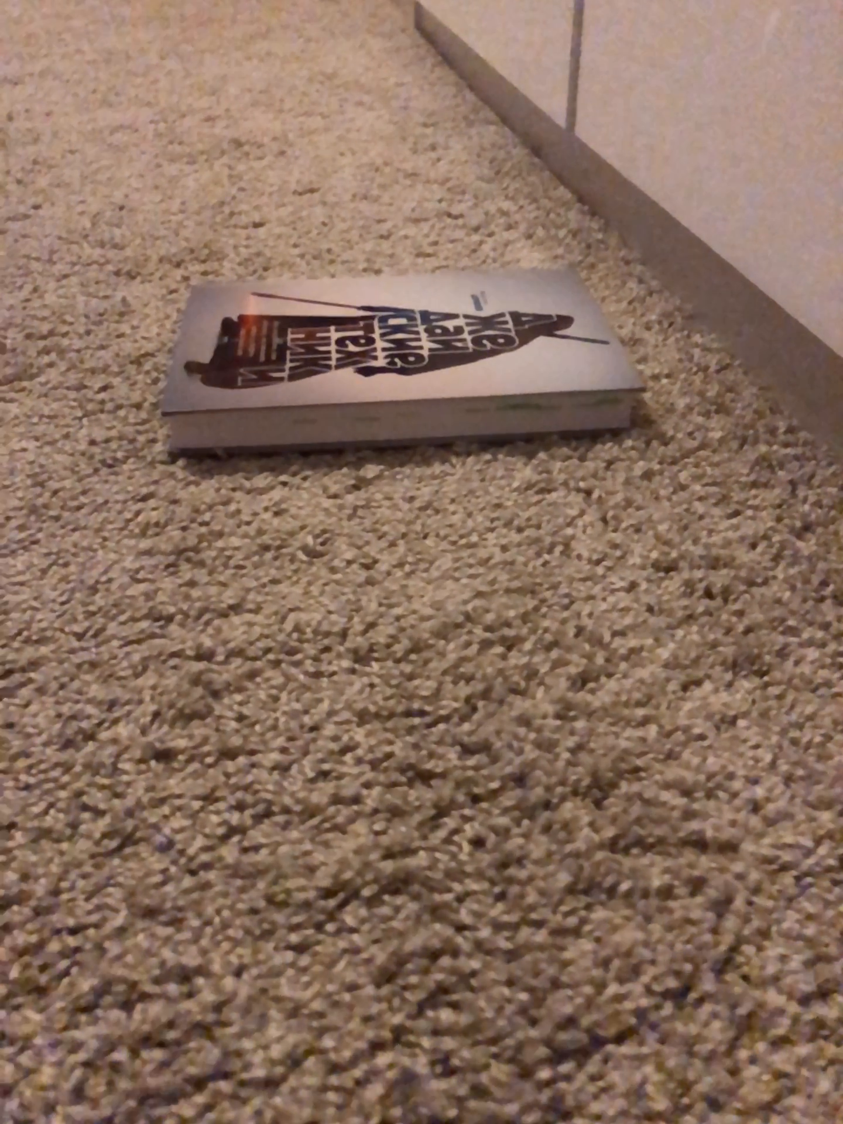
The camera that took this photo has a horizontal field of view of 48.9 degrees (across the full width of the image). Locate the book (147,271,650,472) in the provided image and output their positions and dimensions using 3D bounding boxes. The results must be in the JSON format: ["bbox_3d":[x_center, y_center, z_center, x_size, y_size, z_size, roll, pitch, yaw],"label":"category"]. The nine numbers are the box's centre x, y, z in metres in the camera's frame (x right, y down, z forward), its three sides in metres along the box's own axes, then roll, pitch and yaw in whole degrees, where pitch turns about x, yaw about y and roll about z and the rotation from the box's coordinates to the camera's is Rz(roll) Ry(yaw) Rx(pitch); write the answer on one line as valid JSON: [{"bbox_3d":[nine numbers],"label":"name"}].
[{"bbox_3d":[-0.014,-0.103,0.473,0.220,0.026,0.151,-4,38,-4],"label":"book"}]
